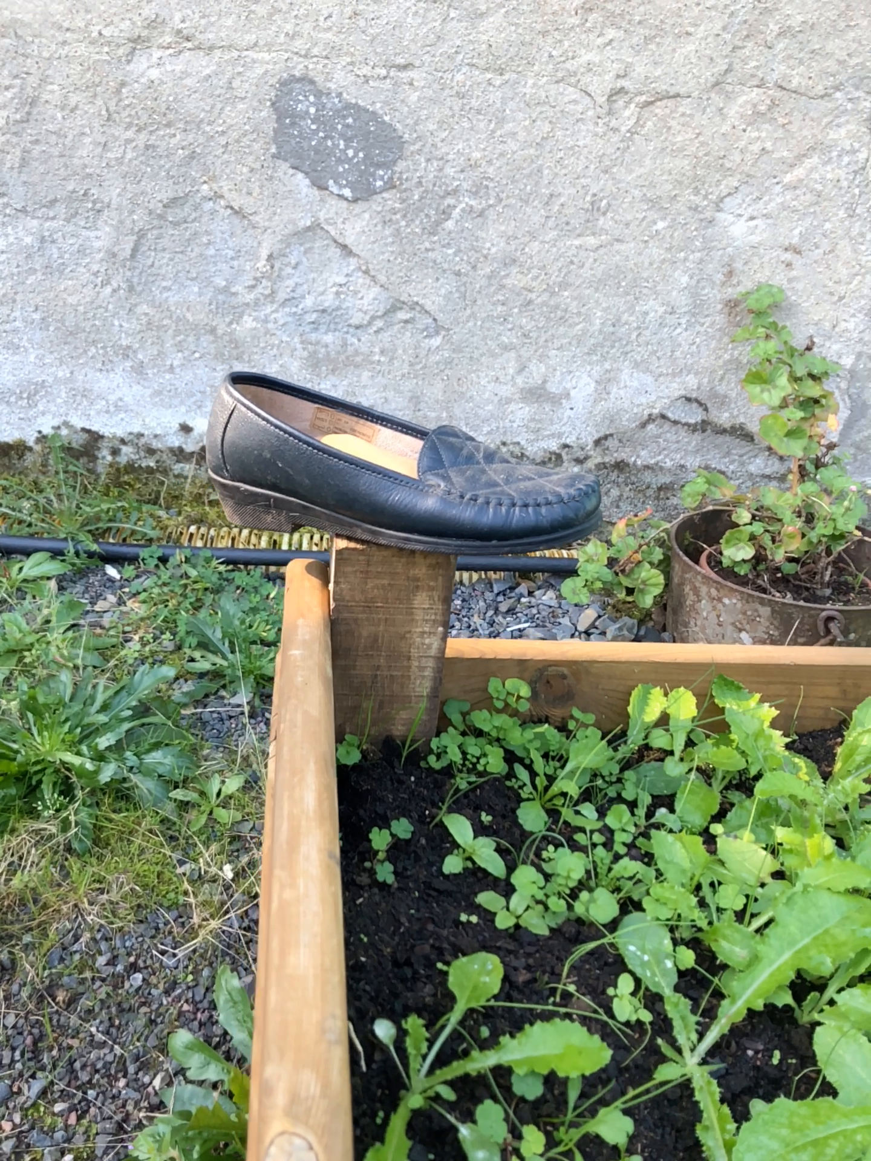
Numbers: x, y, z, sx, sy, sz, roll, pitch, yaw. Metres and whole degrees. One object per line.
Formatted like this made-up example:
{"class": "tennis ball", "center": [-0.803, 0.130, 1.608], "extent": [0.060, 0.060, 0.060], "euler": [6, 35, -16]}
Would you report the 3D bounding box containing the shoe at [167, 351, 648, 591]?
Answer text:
{"class": "shoe", "center": [-0.016, -0.074, 0.570], "extent": [0.260, 0.090, 0.101], "euler": [9, 25, 19]}
